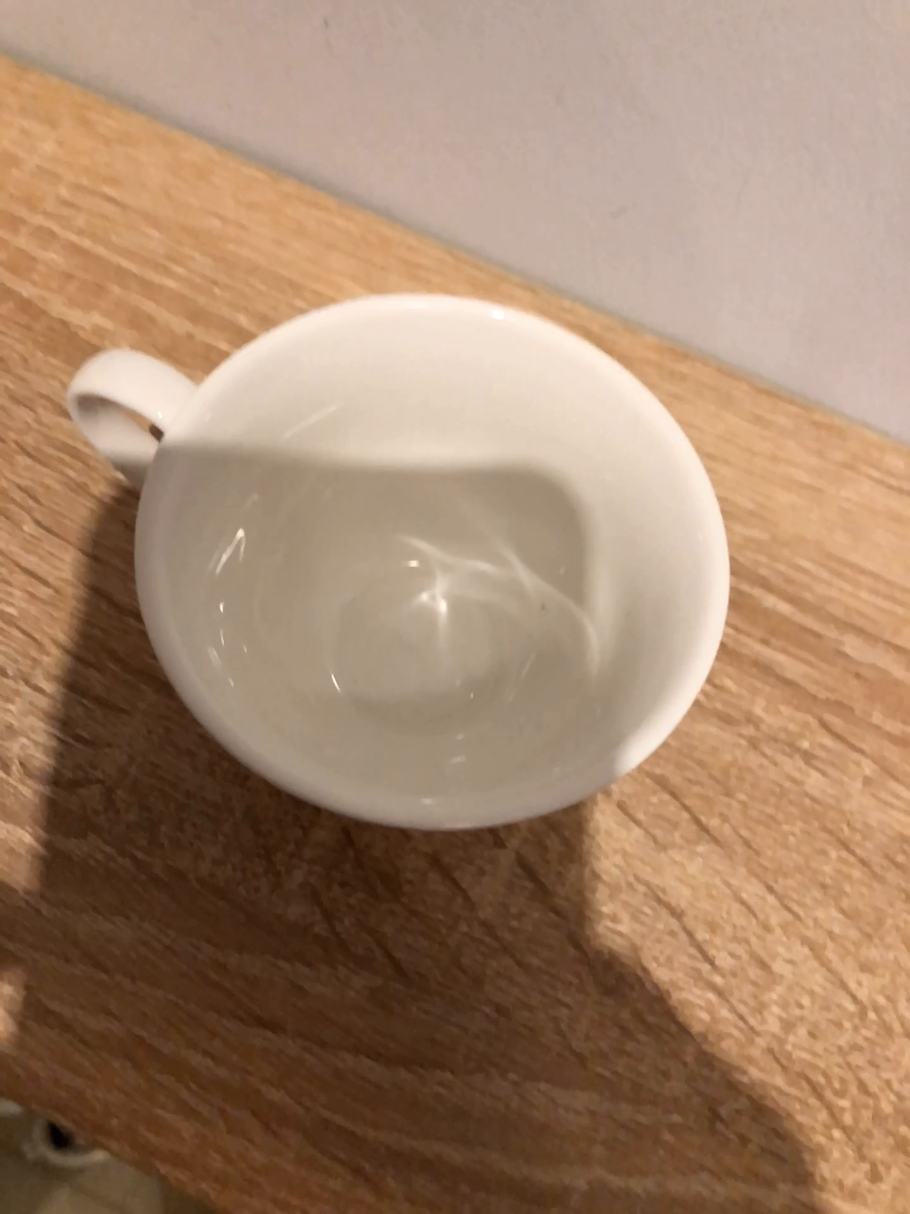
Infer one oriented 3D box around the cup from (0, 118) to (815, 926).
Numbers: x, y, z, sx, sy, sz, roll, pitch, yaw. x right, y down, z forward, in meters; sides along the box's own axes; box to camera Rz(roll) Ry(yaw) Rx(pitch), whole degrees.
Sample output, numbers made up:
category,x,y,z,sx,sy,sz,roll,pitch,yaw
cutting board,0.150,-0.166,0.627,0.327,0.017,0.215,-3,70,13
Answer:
category,x,y,z,sx,sy,sz,roll,pitch,yaw
cup,-0.017,-0.008,0.134,0.100,0.050,0.060,20,68,4
